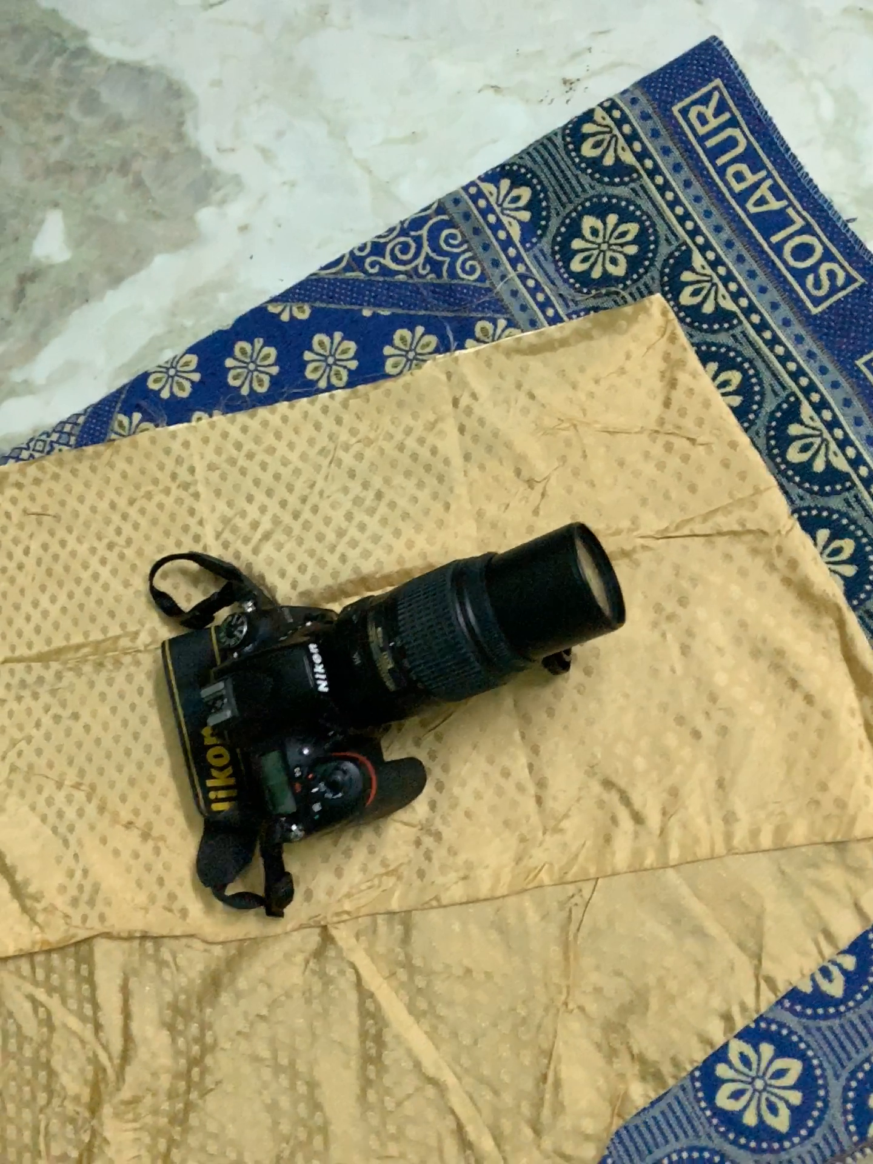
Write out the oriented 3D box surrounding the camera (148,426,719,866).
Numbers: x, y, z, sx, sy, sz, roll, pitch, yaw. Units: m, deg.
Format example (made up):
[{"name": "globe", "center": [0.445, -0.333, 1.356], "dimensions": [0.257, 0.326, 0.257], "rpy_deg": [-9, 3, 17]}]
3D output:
[{"name": "camera", "center": [0.005, 0.048, 0.501], "dimensions": [0.241, 0.180, 0.140], "rpy_deg": [-21, 75, 21]}]
